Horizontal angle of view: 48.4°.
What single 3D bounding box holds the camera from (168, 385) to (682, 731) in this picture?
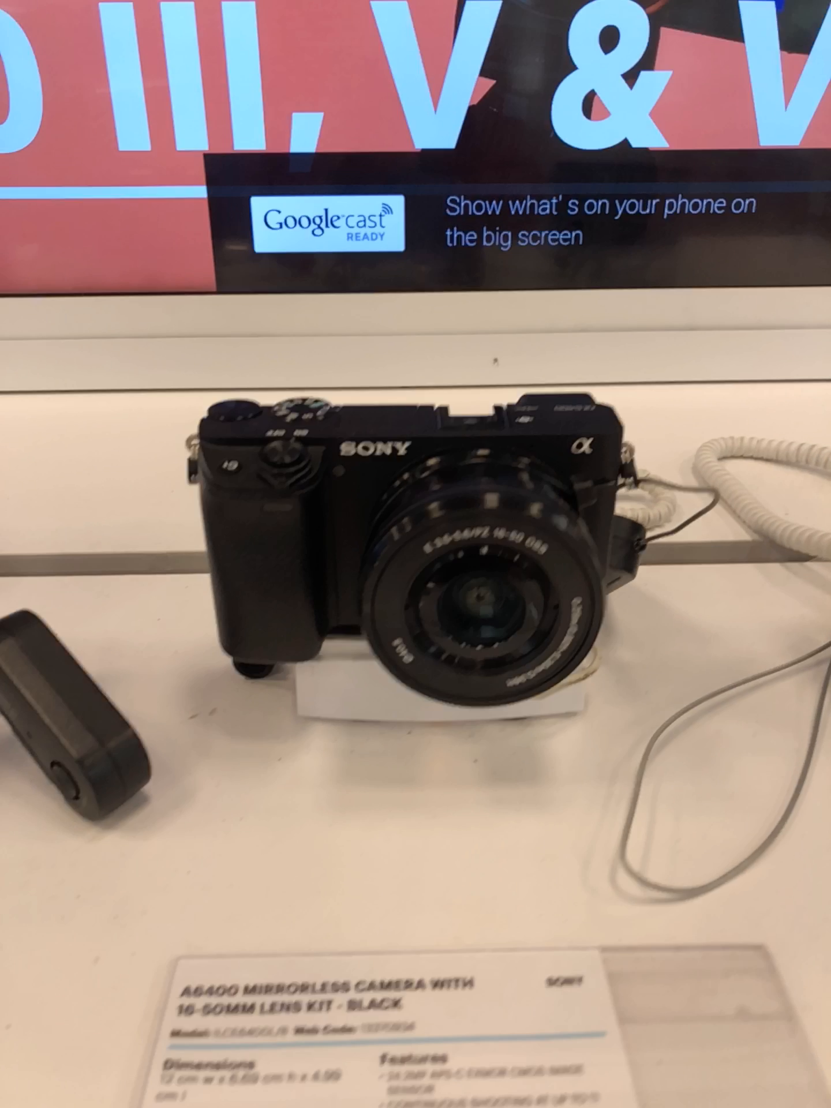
[{"bbox_3d":[0.002,-0.002,0.263,0.120,0.070,0.070,-2,28,-2],"label":"camera"}]
